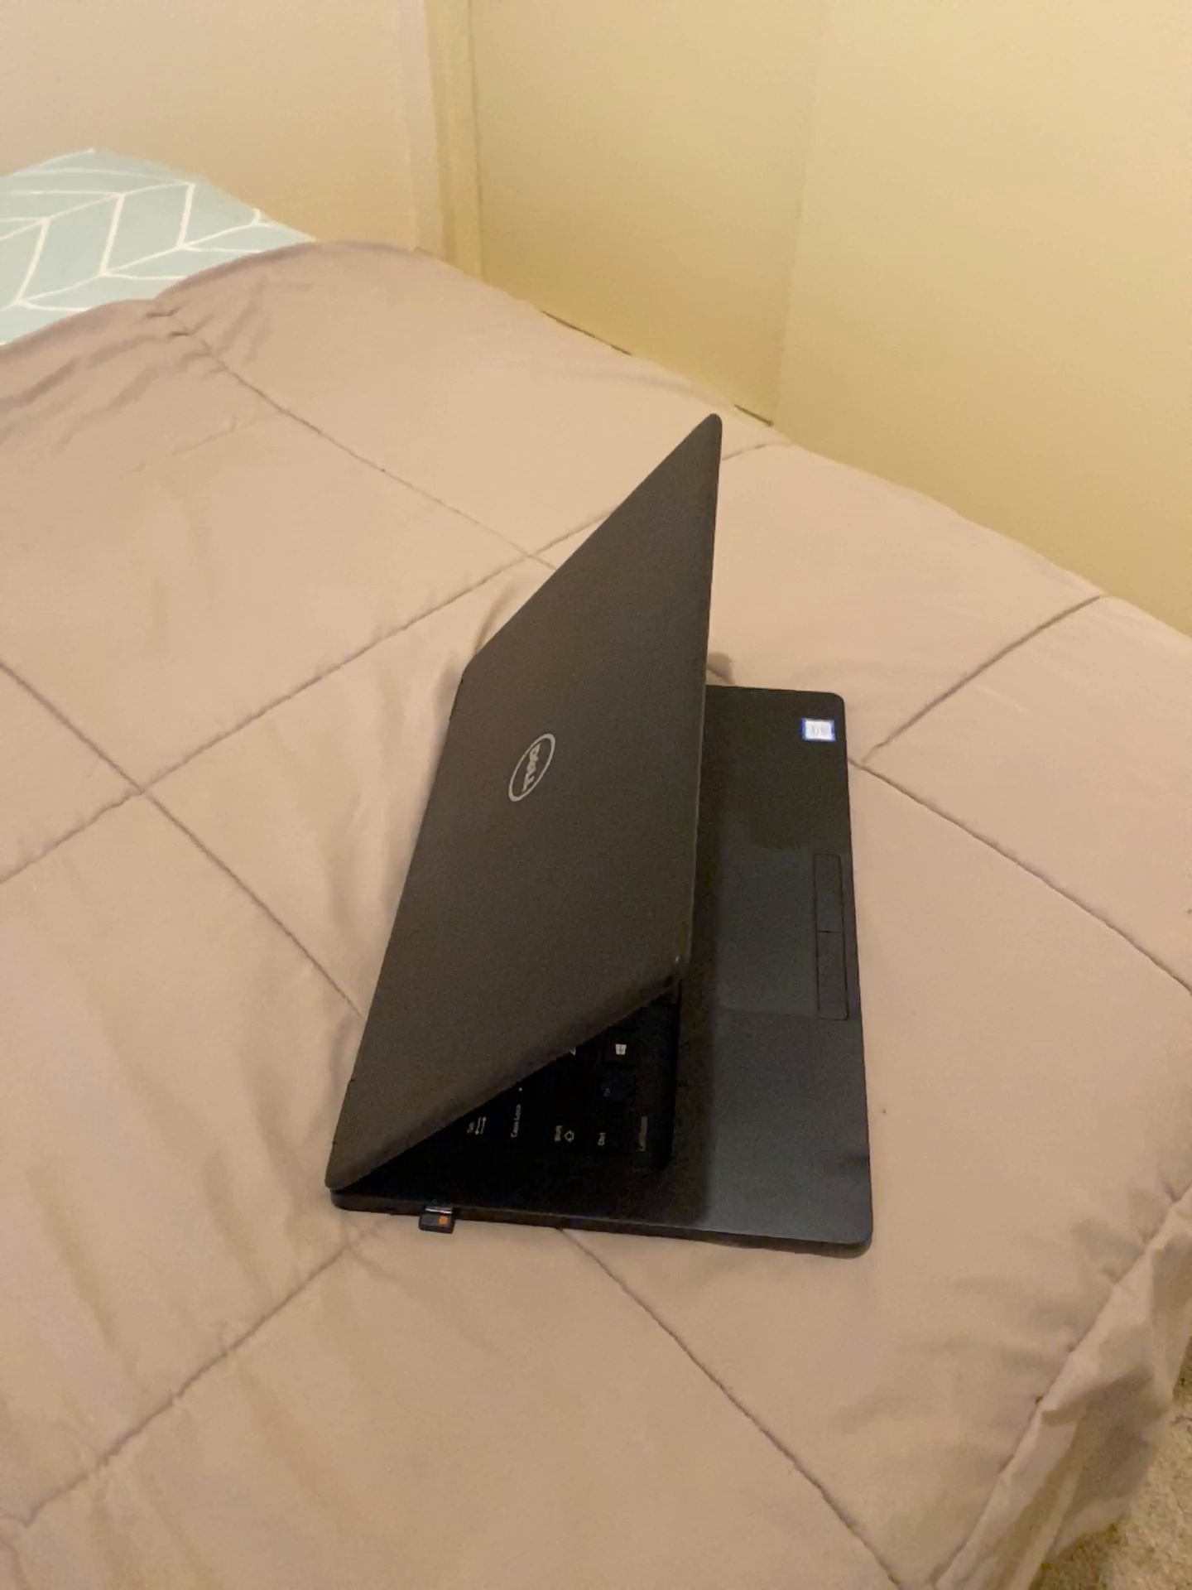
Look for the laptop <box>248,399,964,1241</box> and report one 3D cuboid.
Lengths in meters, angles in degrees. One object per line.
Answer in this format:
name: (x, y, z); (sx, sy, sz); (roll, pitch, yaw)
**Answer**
laptop: (0.018, -0.008, 0.561); (0.226, 0.183, 0.336); (4, 47, 4)
